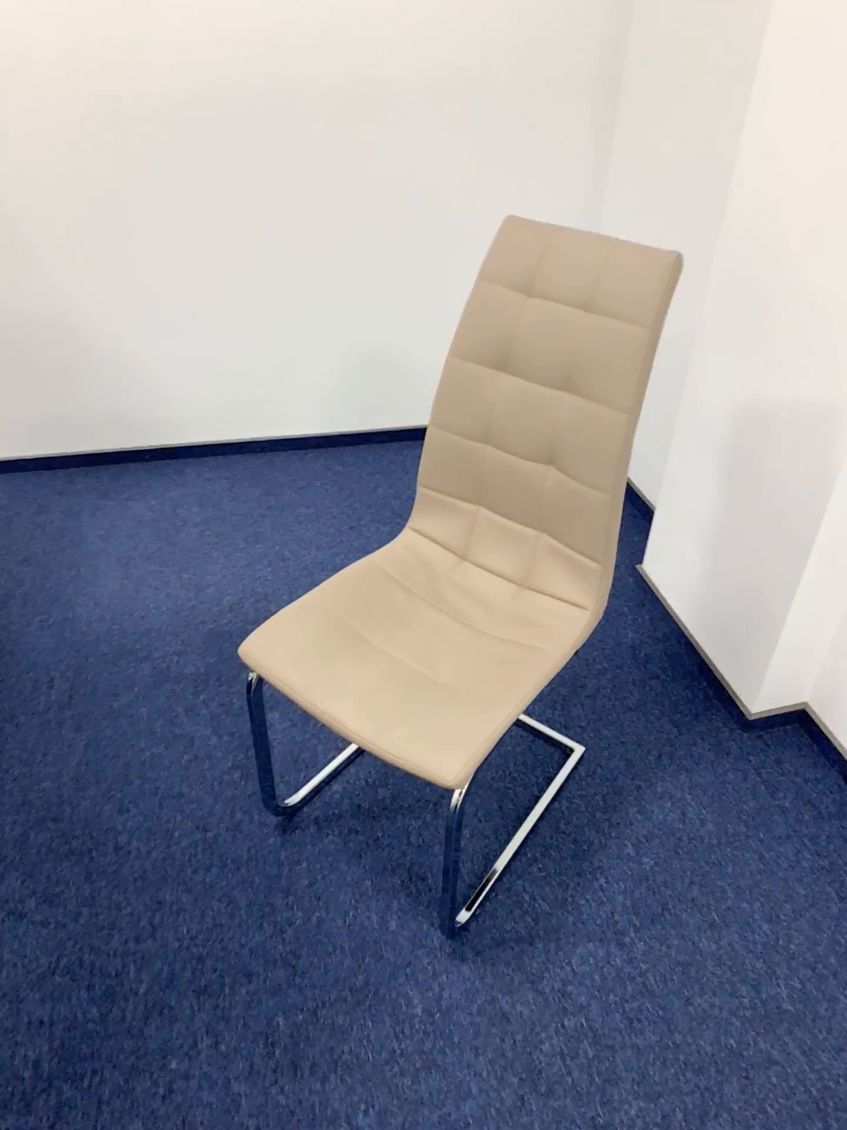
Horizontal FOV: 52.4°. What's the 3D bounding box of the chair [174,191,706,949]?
[{"bbox_3d":[0.026,0.015,1.367,0.441,0.984,0.532,25,42,27],"label":"chair"}]
